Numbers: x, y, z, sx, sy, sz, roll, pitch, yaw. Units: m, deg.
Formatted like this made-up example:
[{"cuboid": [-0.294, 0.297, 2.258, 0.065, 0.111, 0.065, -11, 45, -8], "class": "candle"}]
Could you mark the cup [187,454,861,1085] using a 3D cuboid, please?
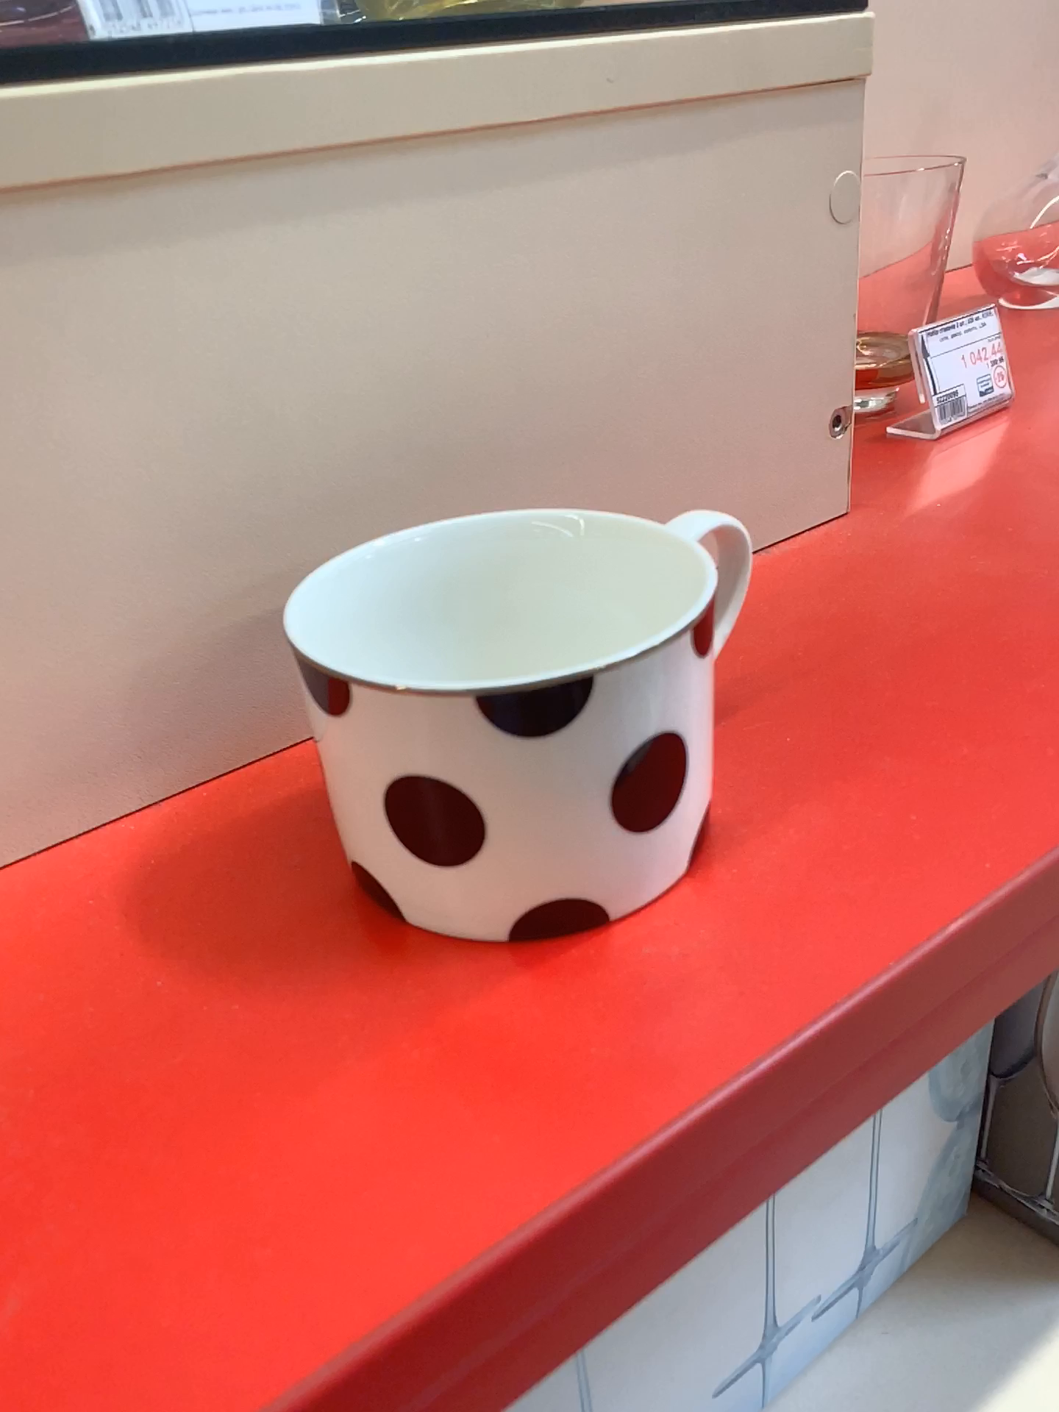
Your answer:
[{"cuboid": [0.003, 0.002, 0.222, 0.100, 0.070, 0.080, -28, 35, -33], "class": "cup"}]
